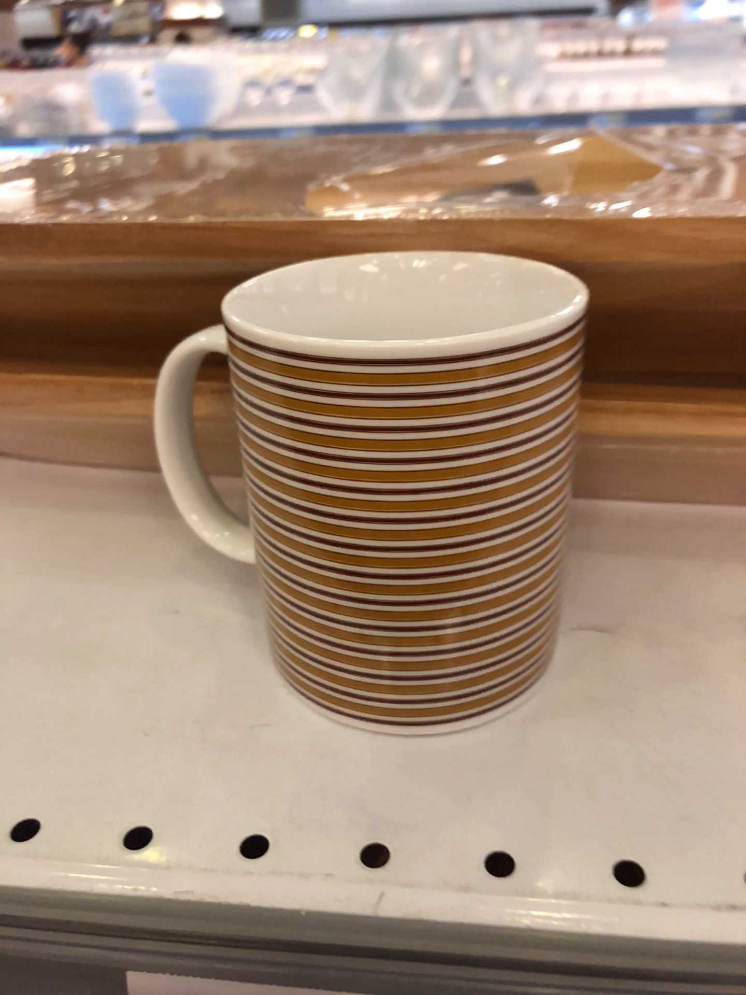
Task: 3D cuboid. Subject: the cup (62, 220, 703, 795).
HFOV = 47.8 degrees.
[{"bbox_3d":[0.002,-0.013,0.217,0.120,0.089,0.090,20,35,37],"label":"cup"}]
